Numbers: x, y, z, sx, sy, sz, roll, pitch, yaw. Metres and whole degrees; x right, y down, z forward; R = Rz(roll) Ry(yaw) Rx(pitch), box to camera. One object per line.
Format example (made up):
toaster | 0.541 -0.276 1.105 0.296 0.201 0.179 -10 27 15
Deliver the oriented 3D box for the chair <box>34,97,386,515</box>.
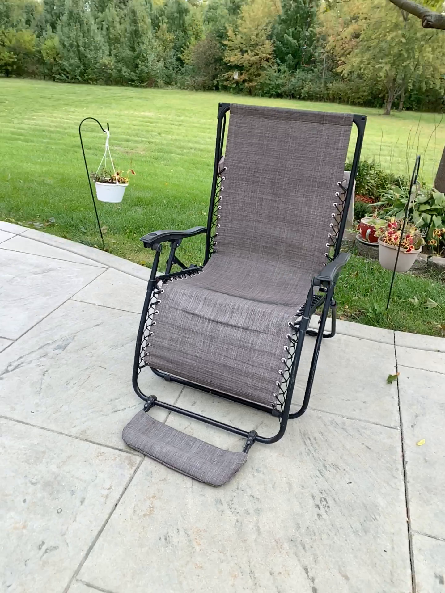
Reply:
chair | 0.068 -0.124 1.737 0.742 1.056 1.152 14 30 20
